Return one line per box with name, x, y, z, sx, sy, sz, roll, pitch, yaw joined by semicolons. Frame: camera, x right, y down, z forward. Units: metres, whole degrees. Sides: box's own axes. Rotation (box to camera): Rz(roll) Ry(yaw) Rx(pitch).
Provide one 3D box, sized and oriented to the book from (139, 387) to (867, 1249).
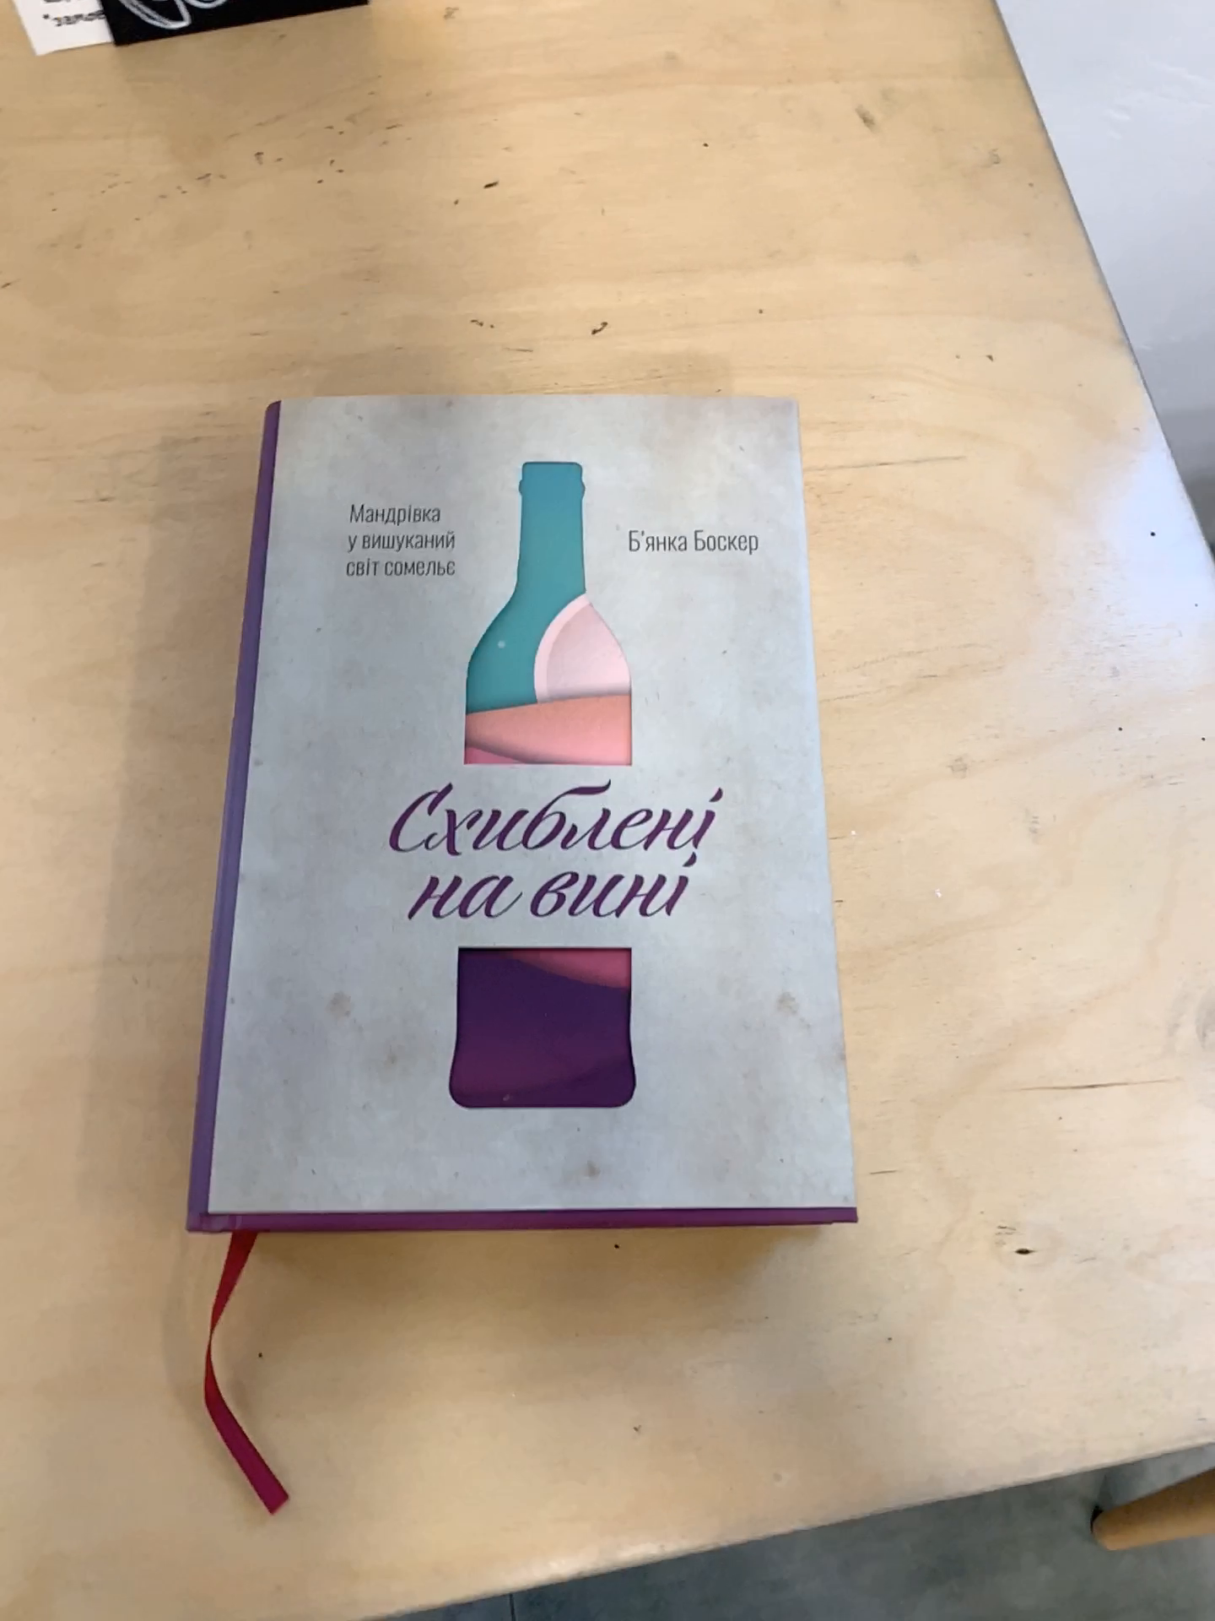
book;-0.023;-0.003;0.319;0.150;0.050;0.214;0;70;-2
